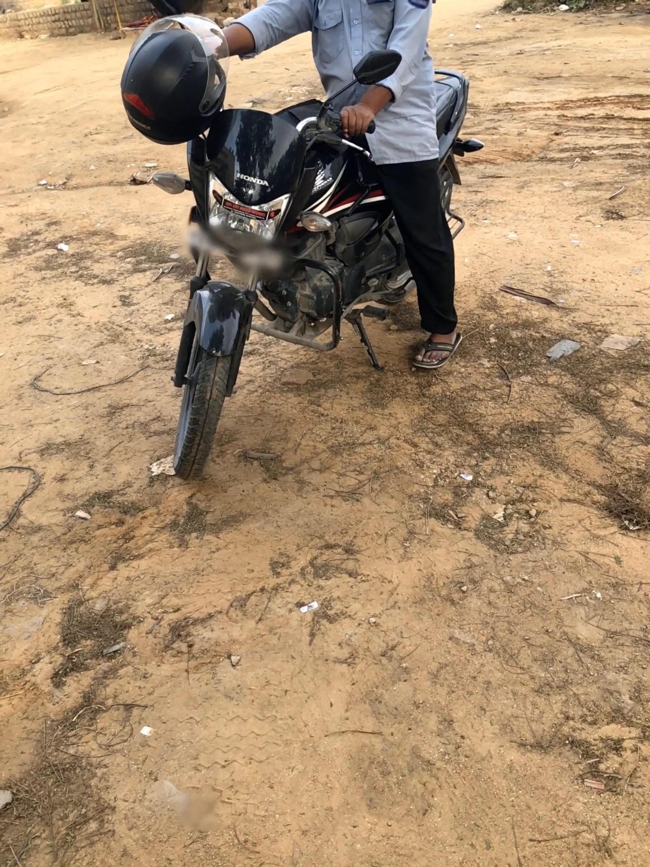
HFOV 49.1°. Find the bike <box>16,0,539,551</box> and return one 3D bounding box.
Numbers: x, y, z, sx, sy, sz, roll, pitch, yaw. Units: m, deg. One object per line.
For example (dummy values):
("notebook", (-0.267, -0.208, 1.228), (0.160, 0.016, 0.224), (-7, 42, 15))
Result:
("bike", (0.032, -0.618, 2.242), (0.668, 0.913, 1.571), (16, 47, 32))
